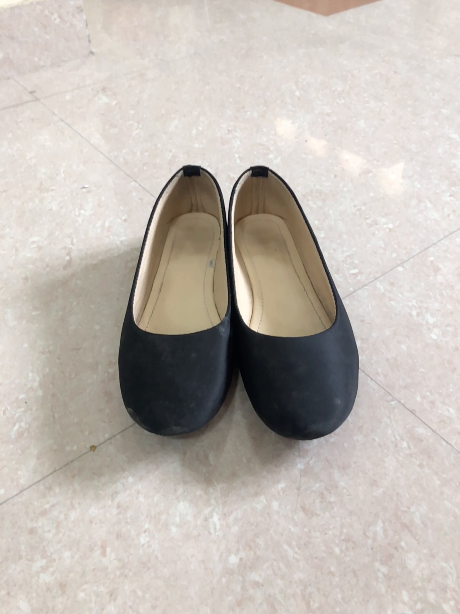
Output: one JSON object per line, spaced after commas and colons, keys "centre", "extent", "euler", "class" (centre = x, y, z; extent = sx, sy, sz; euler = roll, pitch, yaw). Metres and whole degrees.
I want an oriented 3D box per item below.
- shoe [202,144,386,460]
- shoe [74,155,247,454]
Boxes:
{"centre": [0.030, -0.023, 0.374], "extent": [0.090, 0.060, 0.251], "euler": [-4, 48, -1], "class": "shoe"}
{"centre": [-0.035, -0.020, 0.389], "extent": [0.090, 0.060, 0.251], "euler": [0, 48, 4], "class": "shoe"}
